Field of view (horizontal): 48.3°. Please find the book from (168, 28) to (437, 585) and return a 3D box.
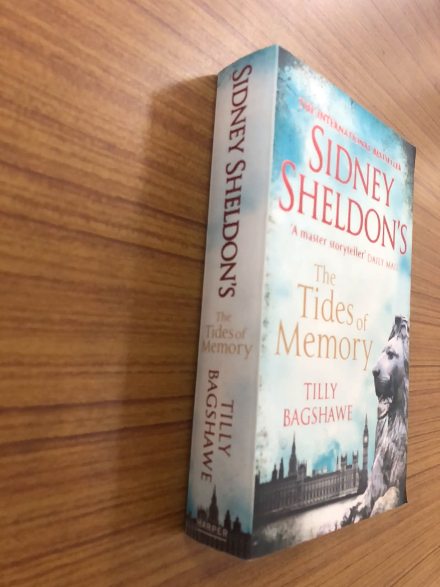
[{"bbox_3d":[0.045,0.007,0.203,0.122,0.037,0.168,10,81,-44],"label":"book"}]
